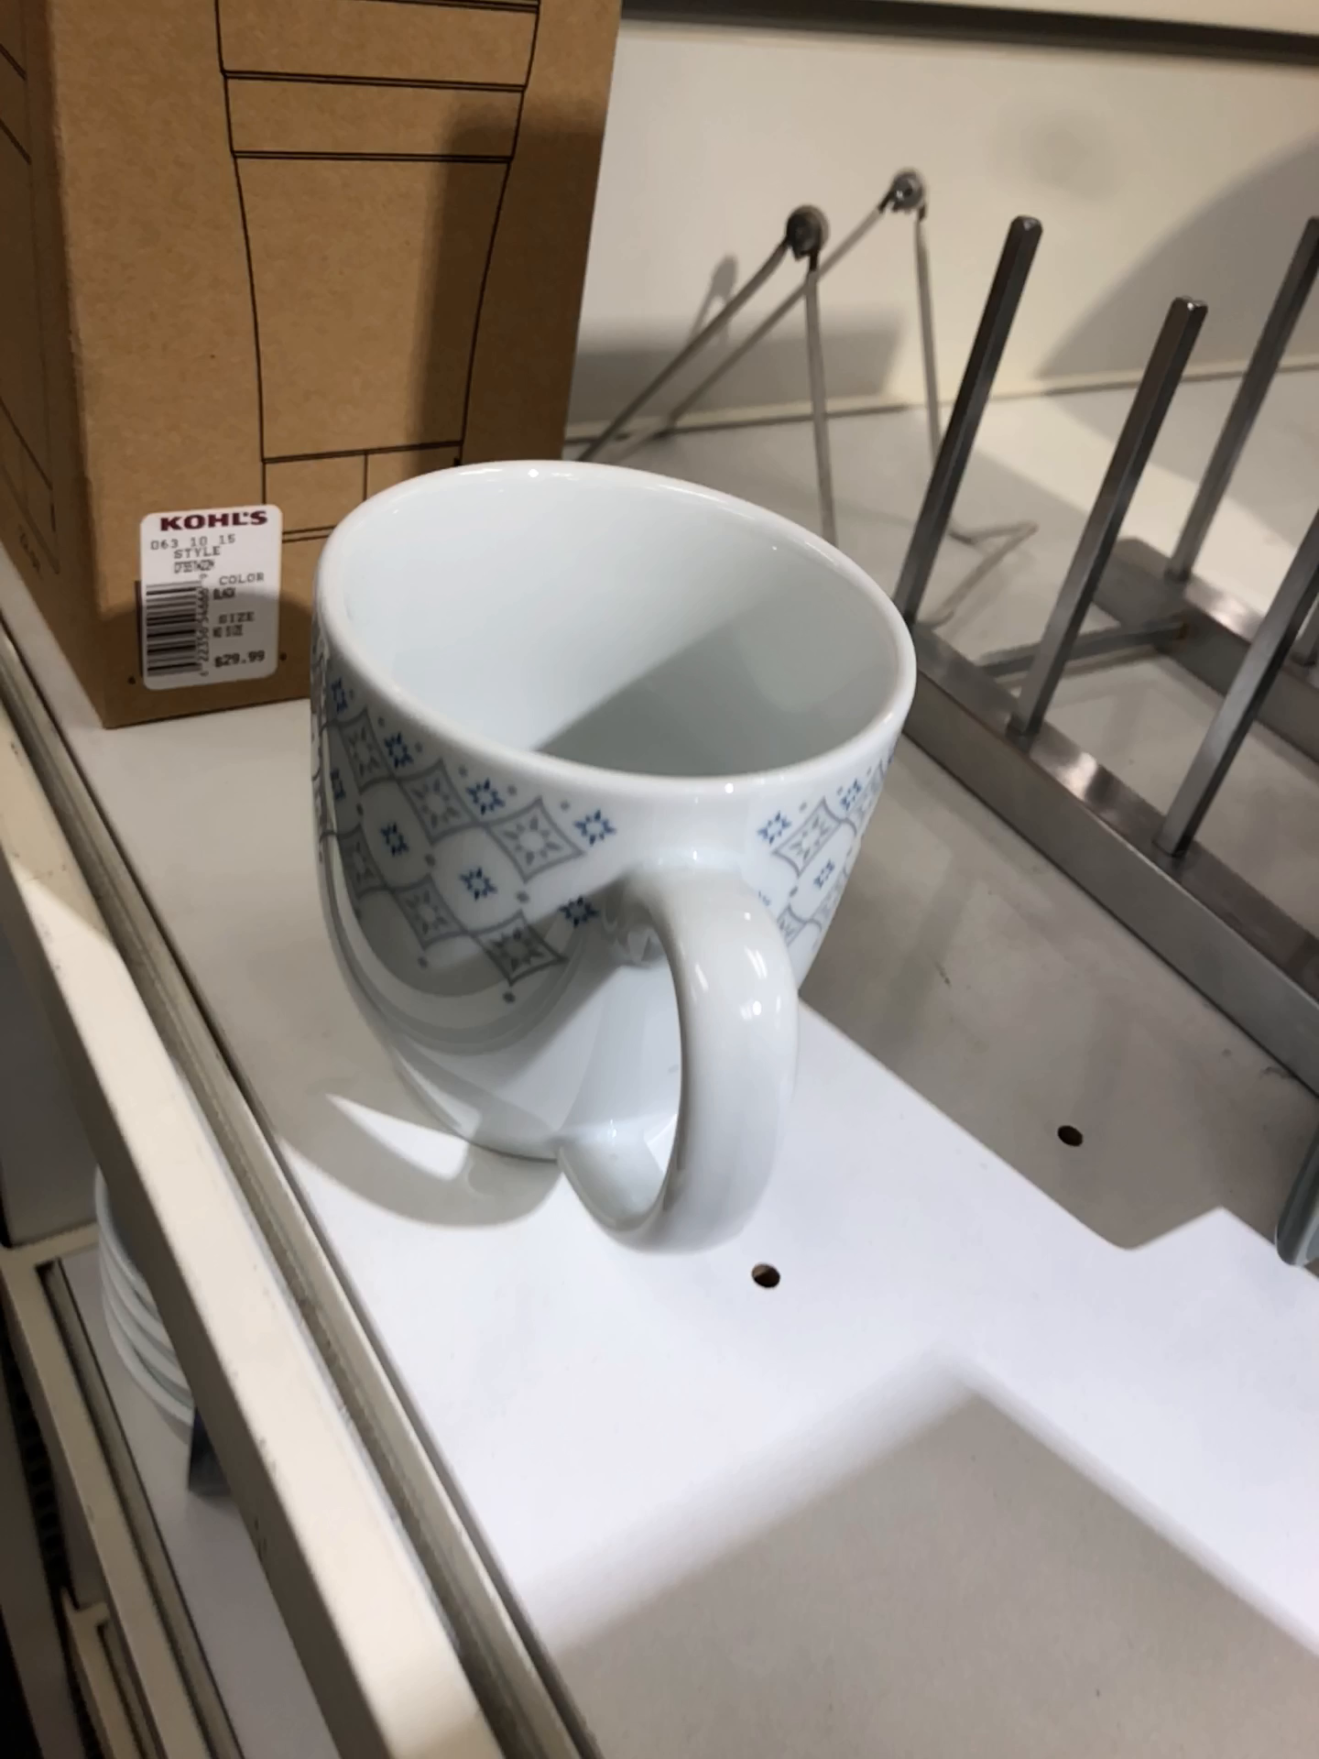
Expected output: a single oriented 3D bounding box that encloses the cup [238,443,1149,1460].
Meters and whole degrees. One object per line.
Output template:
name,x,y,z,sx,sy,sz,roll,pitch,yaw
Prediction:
cup,-0.011,0.000,0.255,0.099,0.099,0.136,-7,41,-19
